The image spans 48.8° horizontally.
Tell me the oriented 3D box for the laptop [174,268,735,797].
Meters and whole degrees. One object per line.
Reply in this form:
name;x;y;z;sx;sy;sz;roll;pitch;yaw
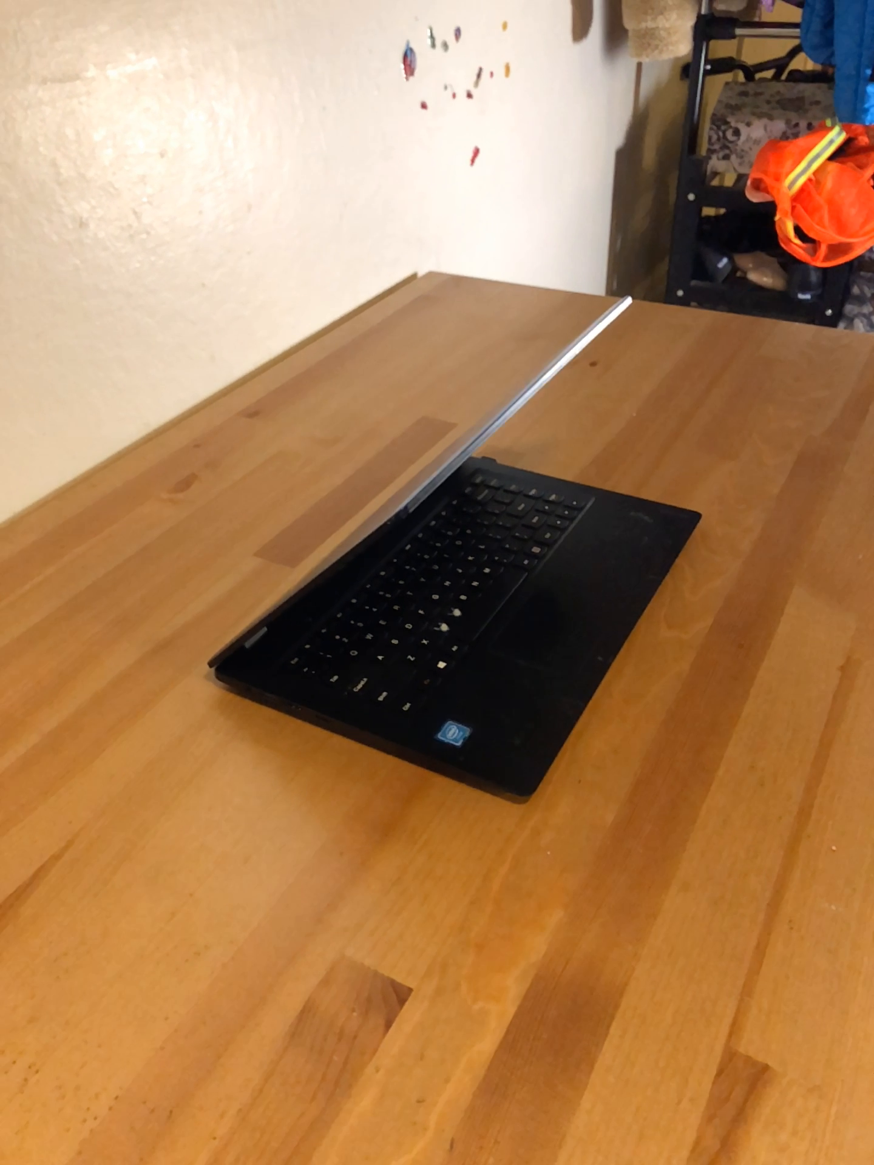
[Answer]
laptop;0.033;-0.063;0.628;0.216;0.161;0.318;17;40;24
